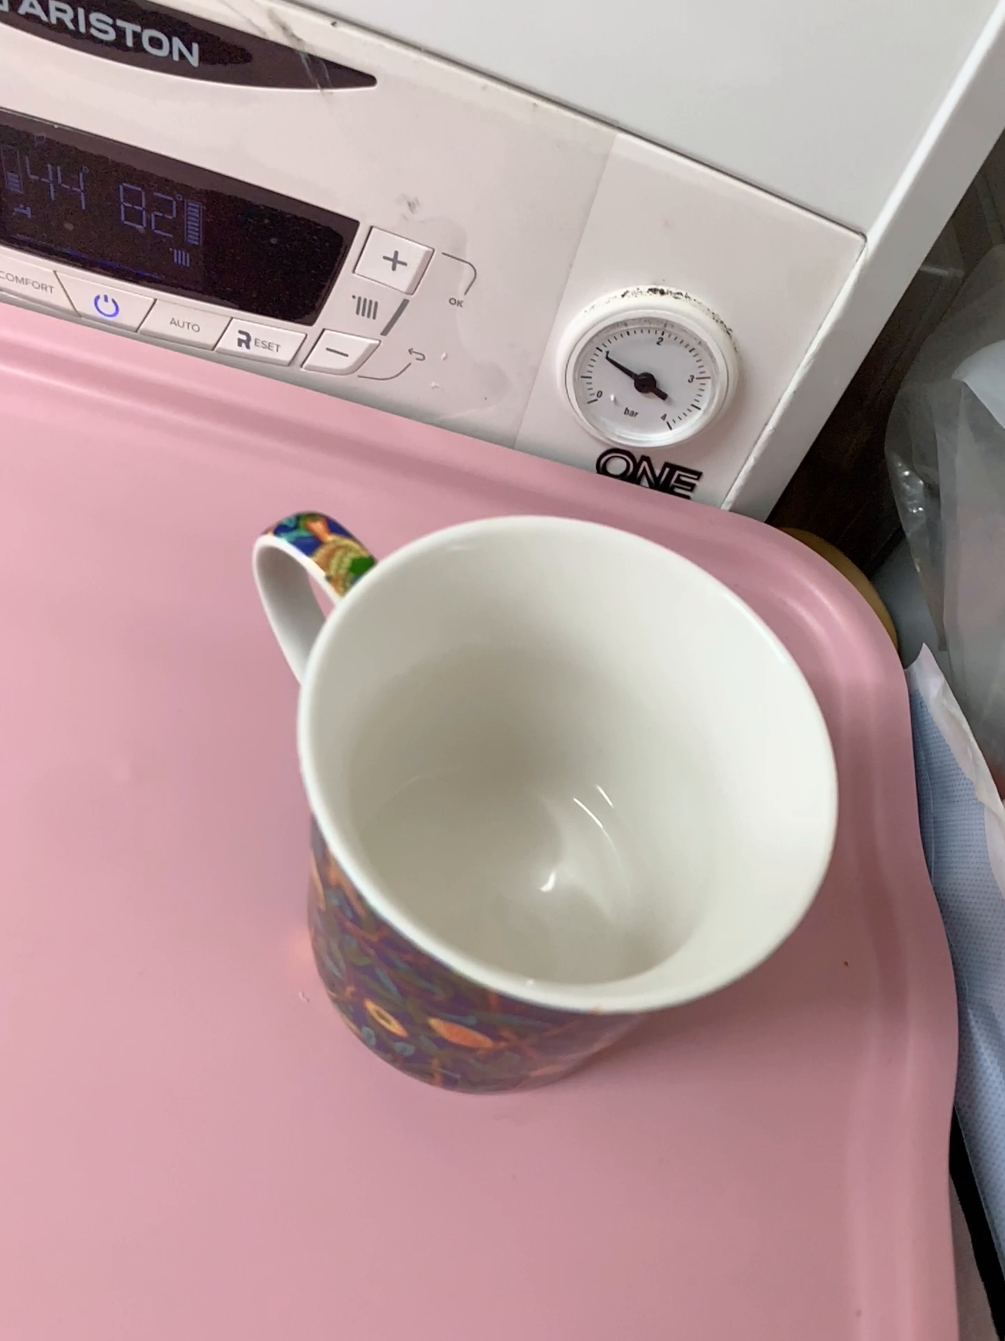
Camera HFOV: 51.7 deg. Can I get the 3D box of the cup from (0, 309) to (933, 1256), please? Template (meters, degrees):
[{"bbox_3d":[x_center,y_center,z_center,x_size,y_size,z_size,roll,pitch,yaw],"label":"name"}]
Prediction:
[{"bbox_3d":[-0.013,0.015,0.182,0.080,0.079,0.120,-32,68,-33],"label":"cup"}]
